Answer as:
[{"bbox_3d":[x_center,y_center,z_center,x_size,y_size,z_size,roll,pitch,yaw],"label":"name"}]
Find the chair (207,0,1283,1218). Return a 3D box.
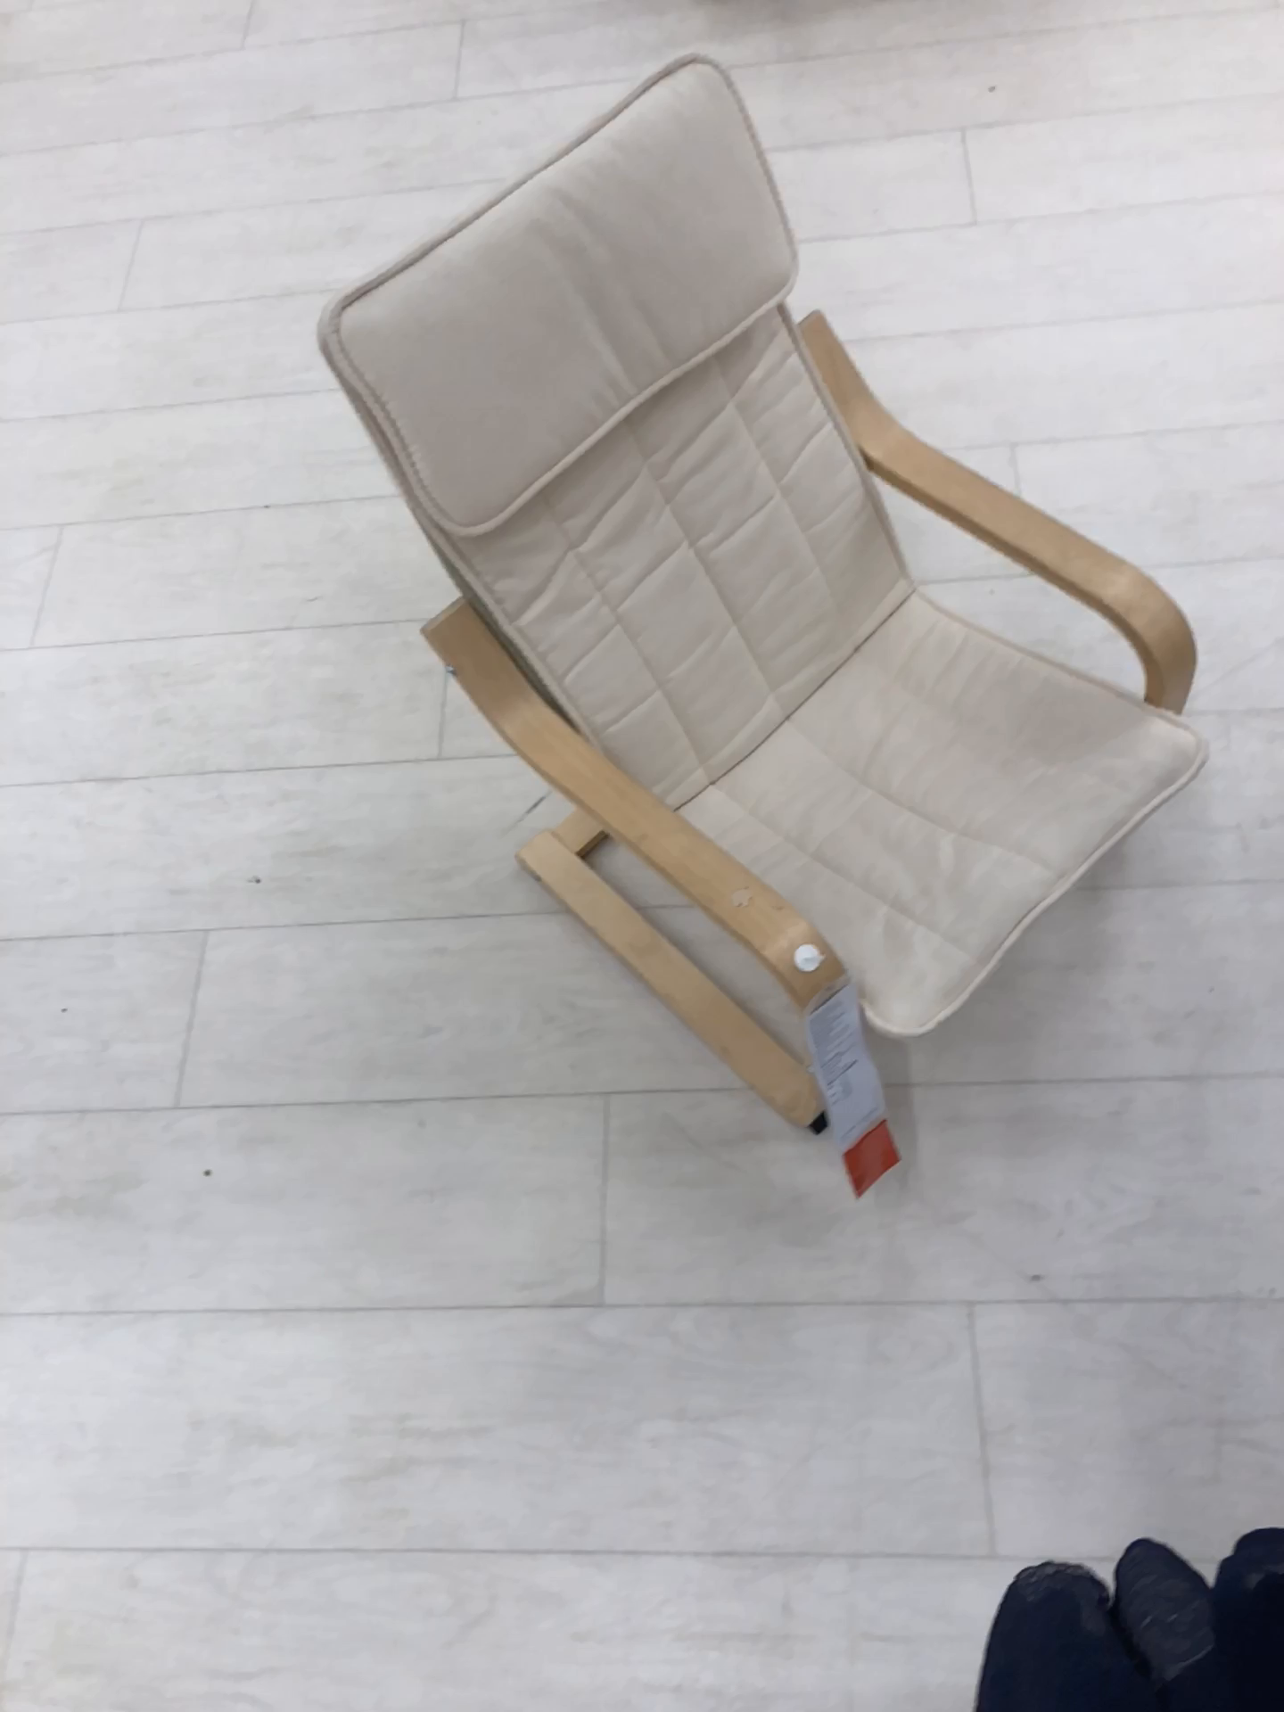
[{"bbox_3d":[0.141,-0.172,1.176,0.530,0.689,0.561,-43,64,-15],"label":"chair"}]
